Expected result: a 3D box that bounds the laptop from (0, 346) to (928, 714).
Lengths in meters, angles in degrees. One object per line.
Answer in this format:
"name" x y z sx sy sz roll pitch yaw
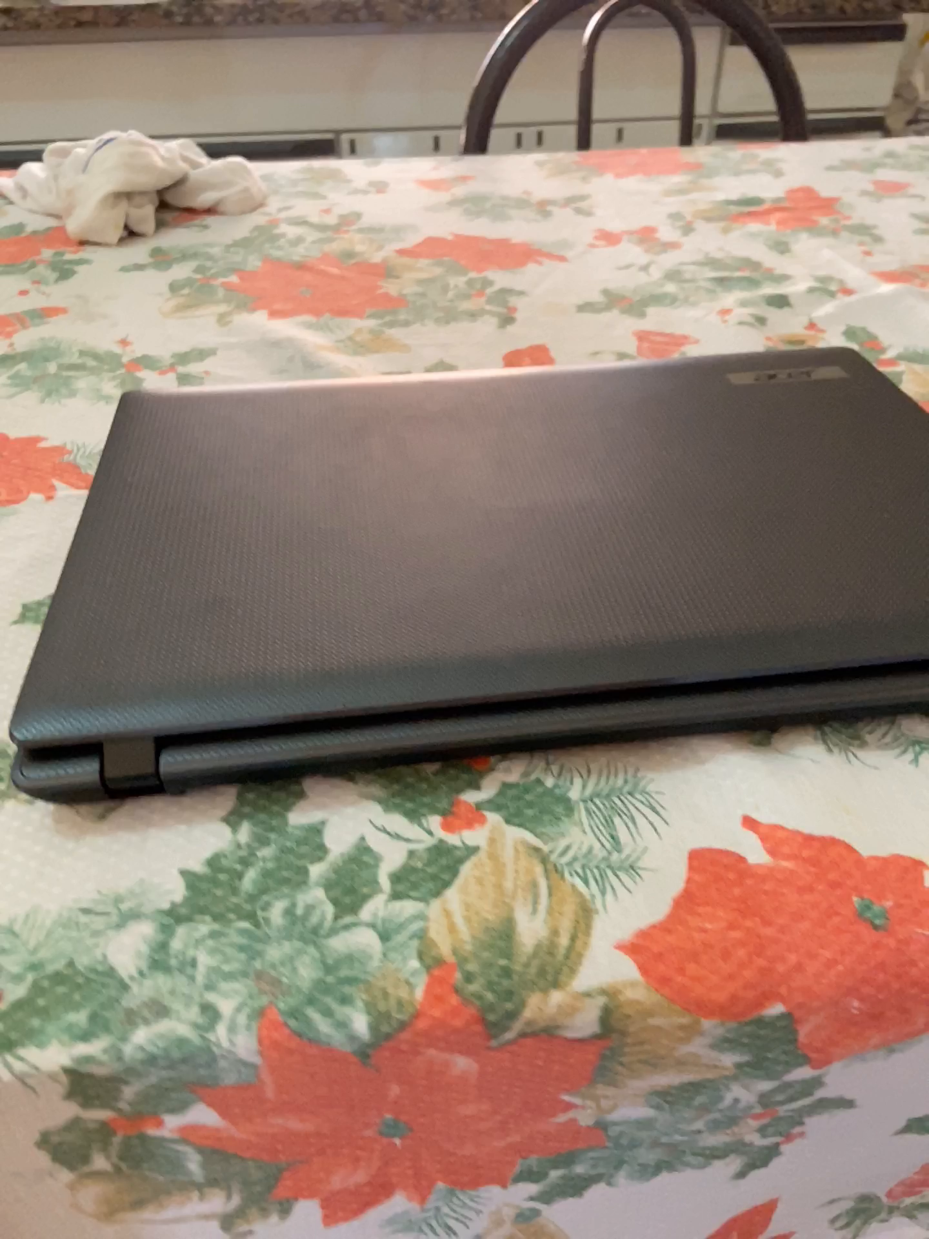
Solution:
"laptop" 0.006 -0.056 0.381 0.350 0.001 0.224 -4 39 -6
